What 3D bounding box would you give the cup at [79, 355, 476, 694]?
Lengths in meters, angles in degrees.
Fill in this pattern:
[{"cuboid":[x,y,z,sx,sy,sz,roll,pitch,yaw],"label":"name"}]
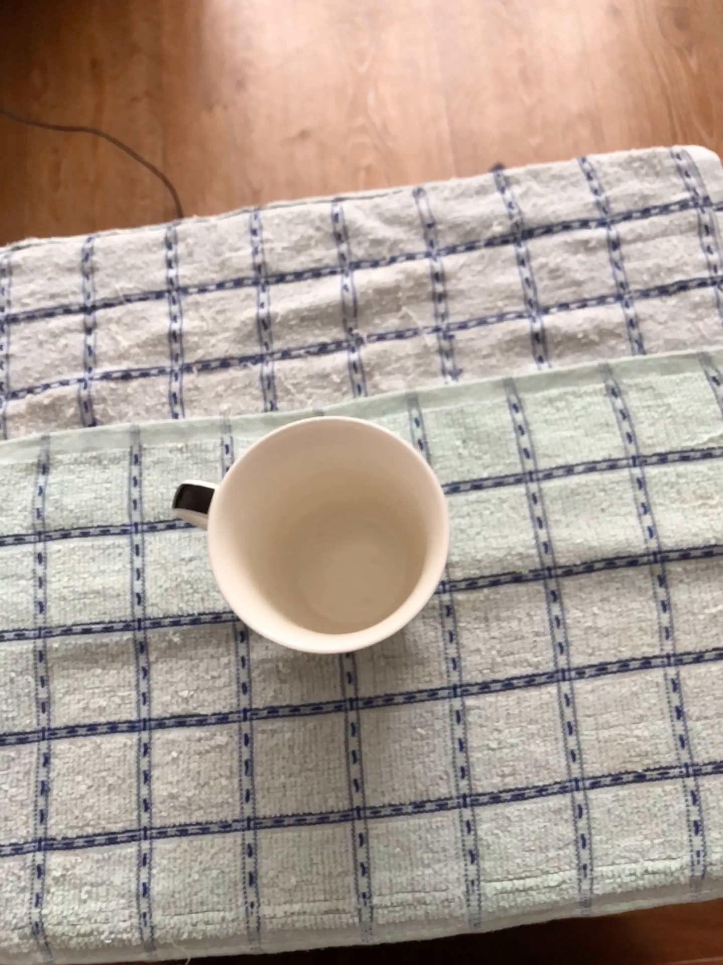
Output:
[{"cuboid":[-0.027,0.023,0.340,0.123,0.090,0.090,20,78,10],"label":"cup"}]
